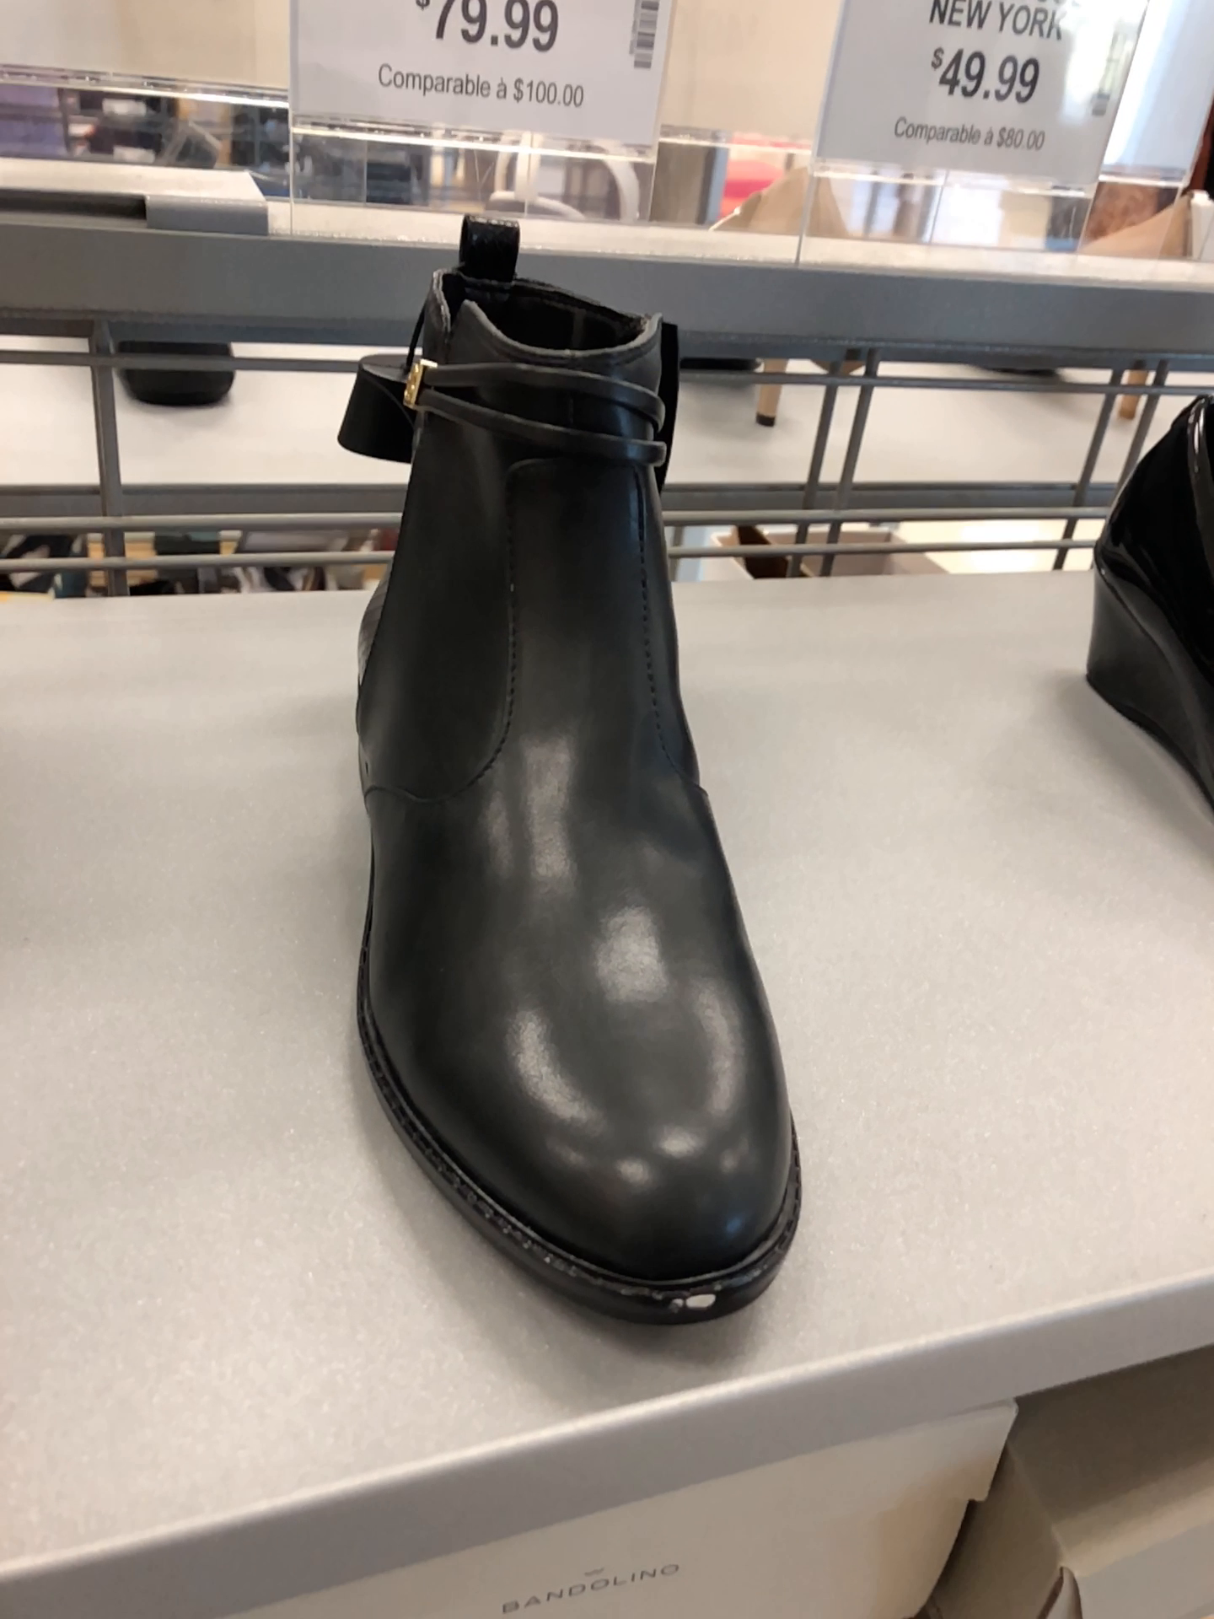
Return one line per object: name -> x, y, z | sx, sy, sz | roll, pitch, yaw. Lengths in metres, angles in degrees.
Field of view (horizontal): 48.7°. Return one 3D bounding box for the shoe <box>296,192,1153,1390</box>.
shoe -> -0.012, -0.029, 0.294 | 0.090, 0.149, 0.232 | -3, 34, -17
